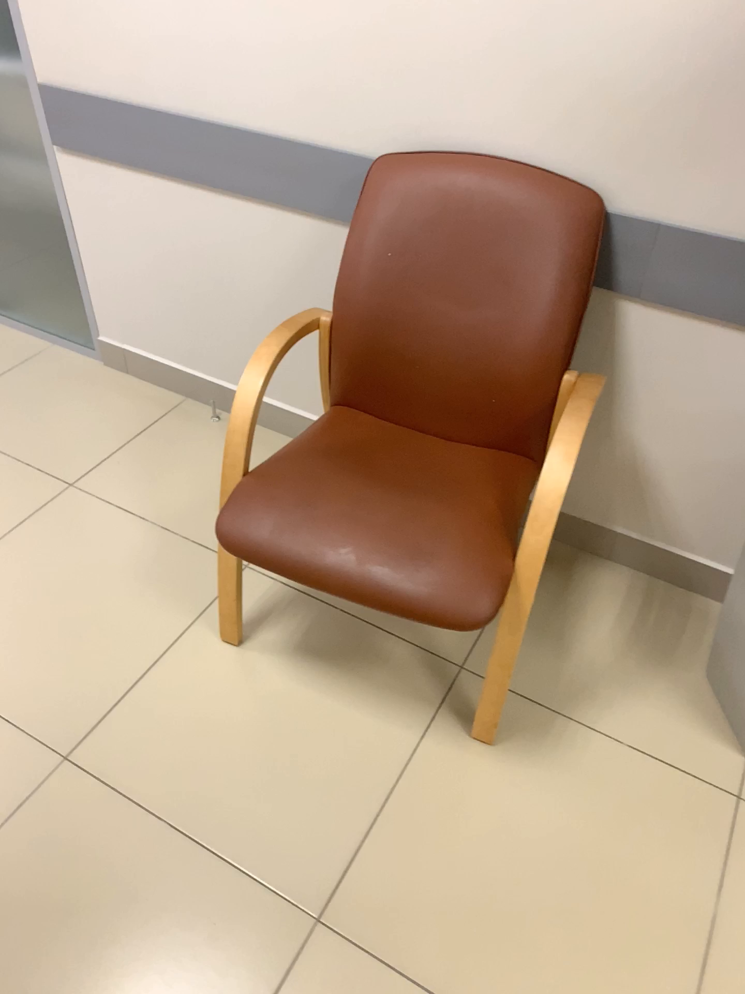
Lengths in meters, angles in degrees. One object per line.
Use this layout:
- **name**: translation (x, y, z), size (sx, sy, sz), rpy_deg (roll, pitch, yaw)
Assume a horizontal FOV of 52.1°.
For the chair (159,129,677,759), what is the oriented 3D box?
- **chair**: translation (0.098, -0.099, 1.569), size (0.670, 0.985, 0.603), rpy_deg (18, 44, 17)
